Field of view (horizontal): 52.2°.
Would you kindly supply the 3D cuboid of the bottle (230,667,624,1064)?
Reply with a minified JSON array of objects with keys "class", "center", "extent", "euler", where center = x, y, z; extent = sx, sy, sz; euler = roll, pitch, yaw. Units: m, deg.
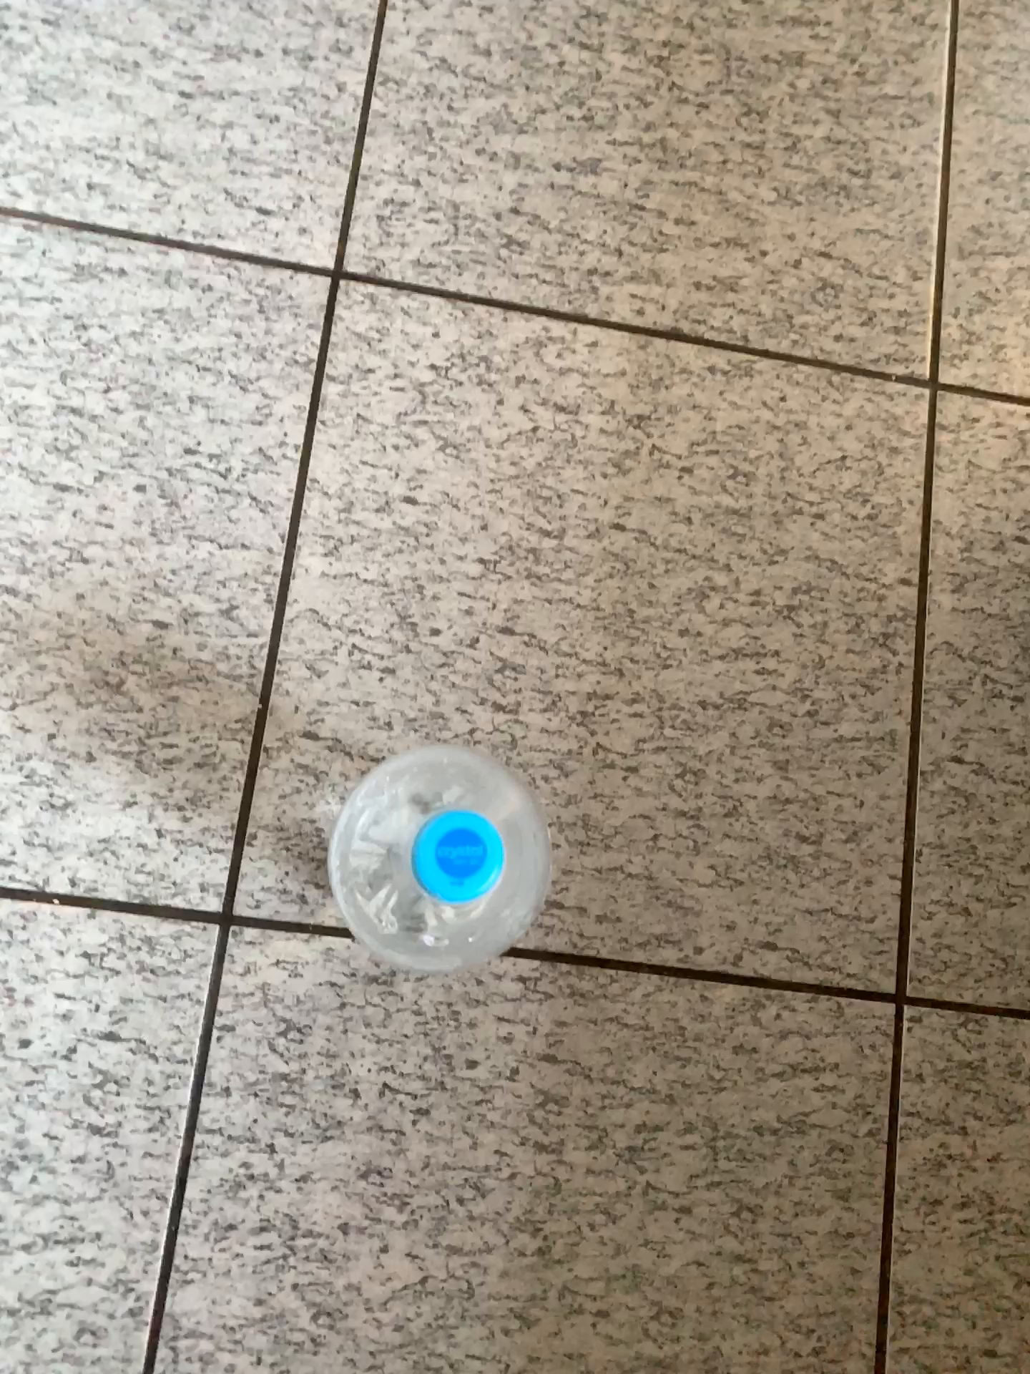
[{"class":"bottle","center":[-0.043,0.078,0.467],"extent":[0.090,0.300,0.090],"euler":[1,80,-7]}]
